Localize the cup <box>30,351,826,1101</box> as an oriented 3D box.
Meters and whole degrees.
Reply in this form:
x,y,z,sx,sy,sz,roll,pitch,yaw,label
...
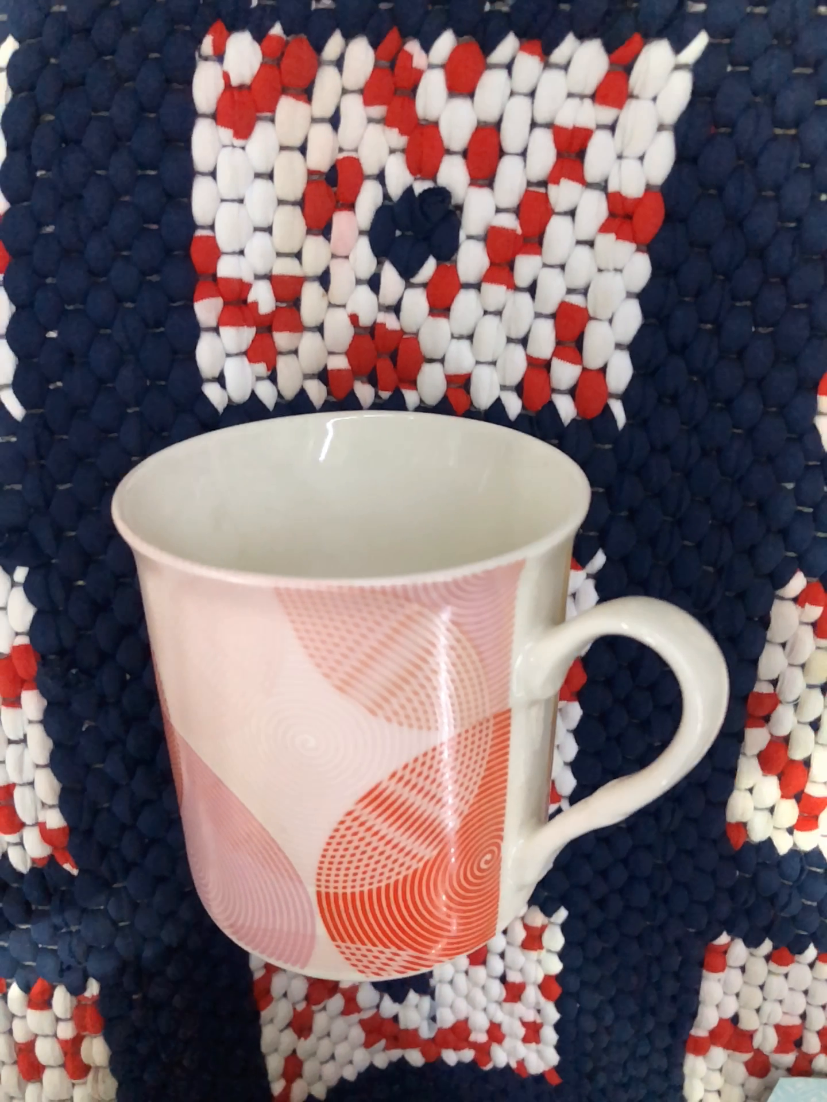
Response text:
x,y,z,sx,sy,sz,roll,pitch,yaw,label
0.011,0.020,0.189,0.120,0.100,0.100,11,114,29,cup
